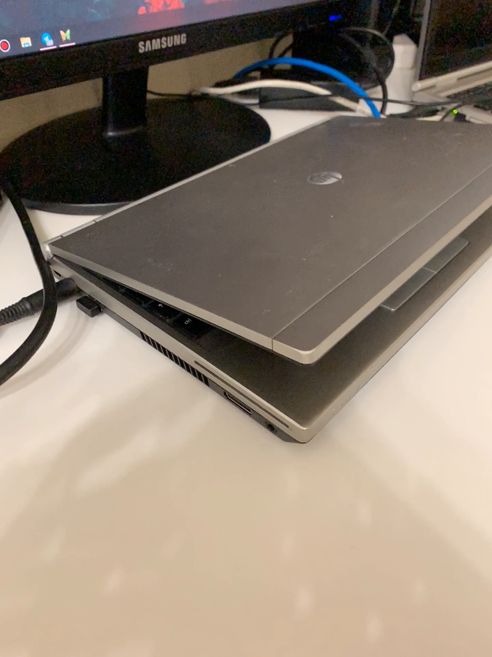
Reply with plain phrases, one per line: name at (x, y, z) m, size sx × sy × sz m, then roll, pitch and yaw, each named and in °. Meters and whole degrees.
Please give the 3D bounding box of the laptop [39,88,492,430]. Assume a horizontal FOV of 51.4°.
laptop at (0.054, -0.084, 0.326) m, size 0.183 × 0.029 × 0.294 m, roll 32°, pitch 50°, yaw 29°
